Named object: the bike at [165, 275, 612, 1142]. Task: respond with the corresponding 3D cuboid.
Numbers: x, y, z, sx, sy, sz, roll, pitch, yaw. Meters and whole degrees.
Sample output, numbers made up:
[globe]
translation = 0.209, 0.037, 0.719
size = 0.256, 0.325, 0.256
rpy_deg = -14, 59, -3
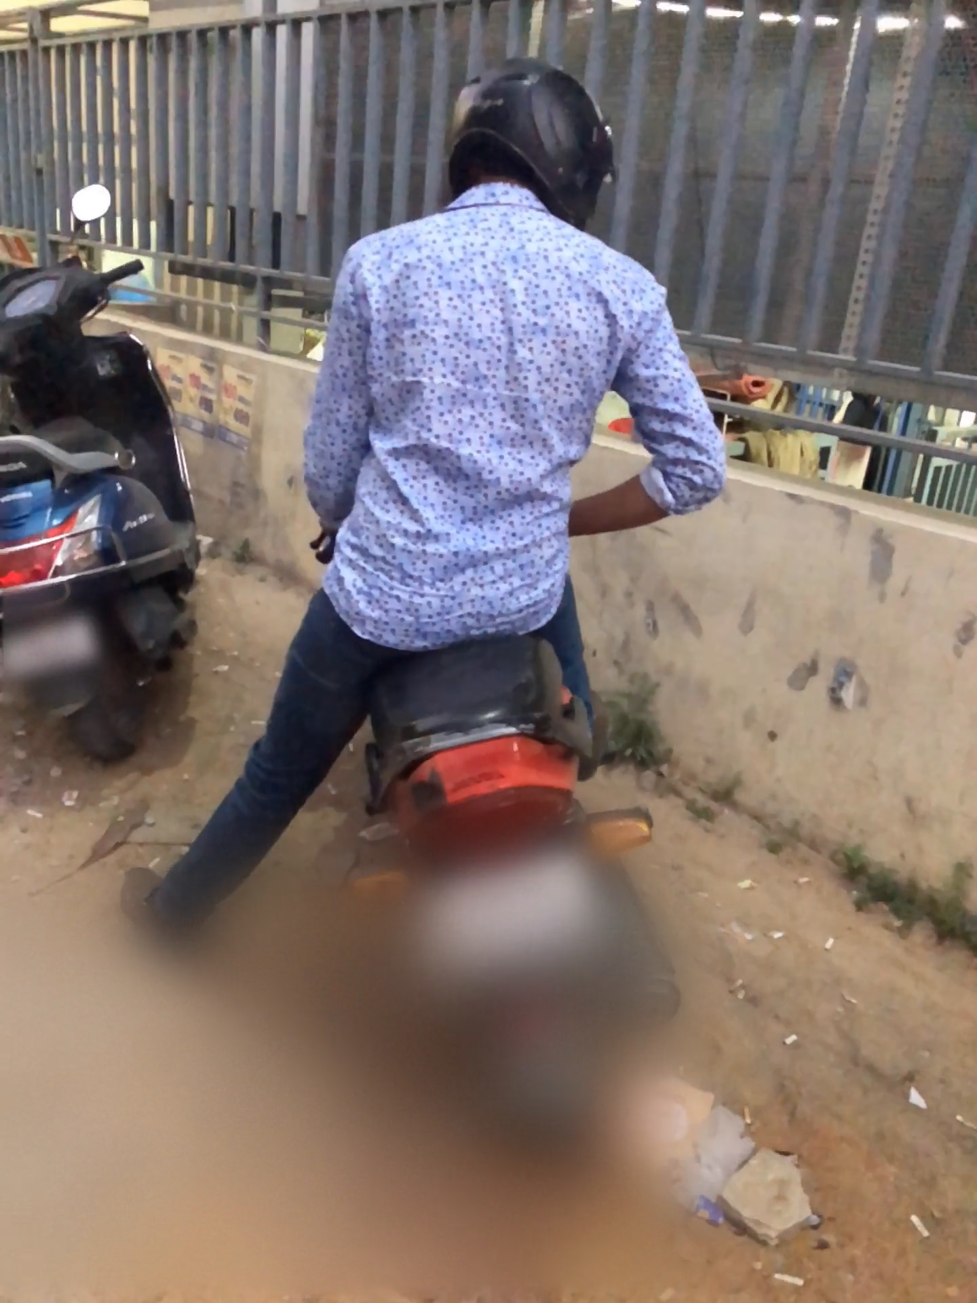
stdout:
[bike]
translation = -0.359, -0.099, 2.058
size = 0.424, 0.831, 1.660
rpy_deg = -1, 28, -19
